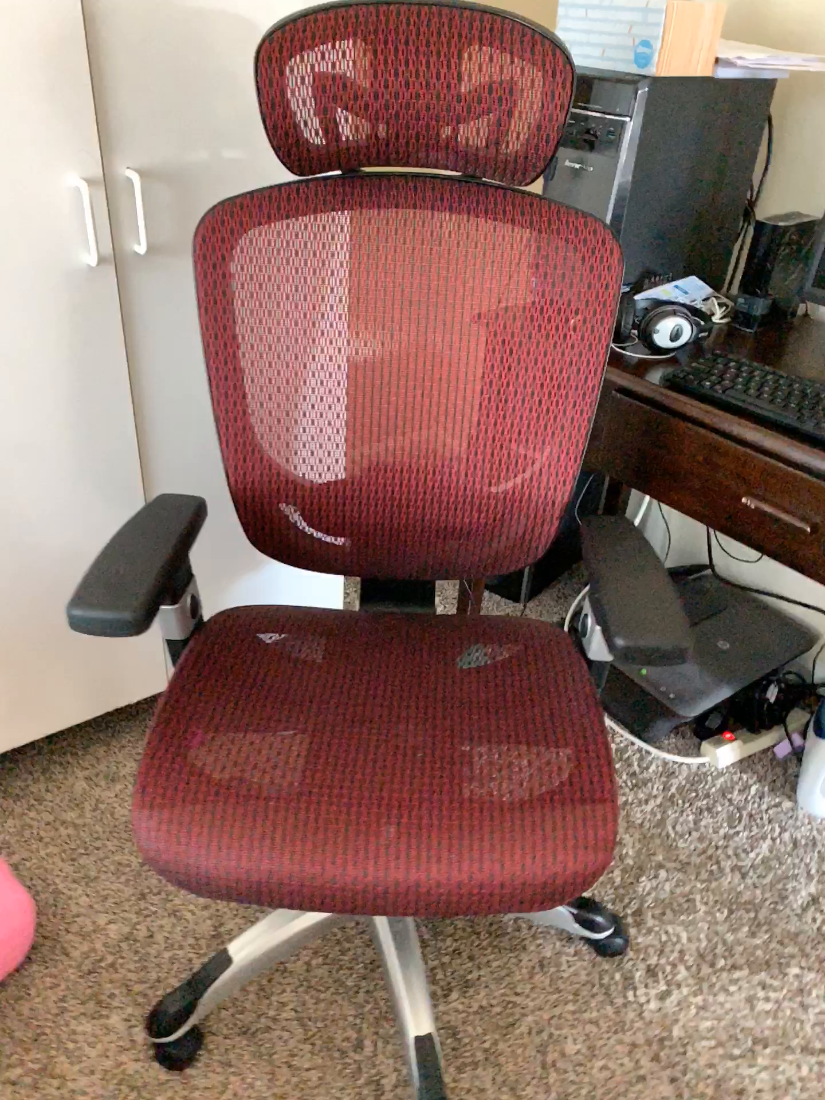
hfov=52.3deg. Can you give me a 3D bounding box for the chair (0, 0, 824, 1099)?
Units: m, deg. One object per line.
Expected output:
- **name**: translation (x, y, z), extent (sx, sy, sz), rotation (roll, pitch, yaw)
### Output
- **chair**: translation (-0.003, 0.051, 0.977), extent (0.730, 1.154, 0.814), rotation (4, 33, 2)
